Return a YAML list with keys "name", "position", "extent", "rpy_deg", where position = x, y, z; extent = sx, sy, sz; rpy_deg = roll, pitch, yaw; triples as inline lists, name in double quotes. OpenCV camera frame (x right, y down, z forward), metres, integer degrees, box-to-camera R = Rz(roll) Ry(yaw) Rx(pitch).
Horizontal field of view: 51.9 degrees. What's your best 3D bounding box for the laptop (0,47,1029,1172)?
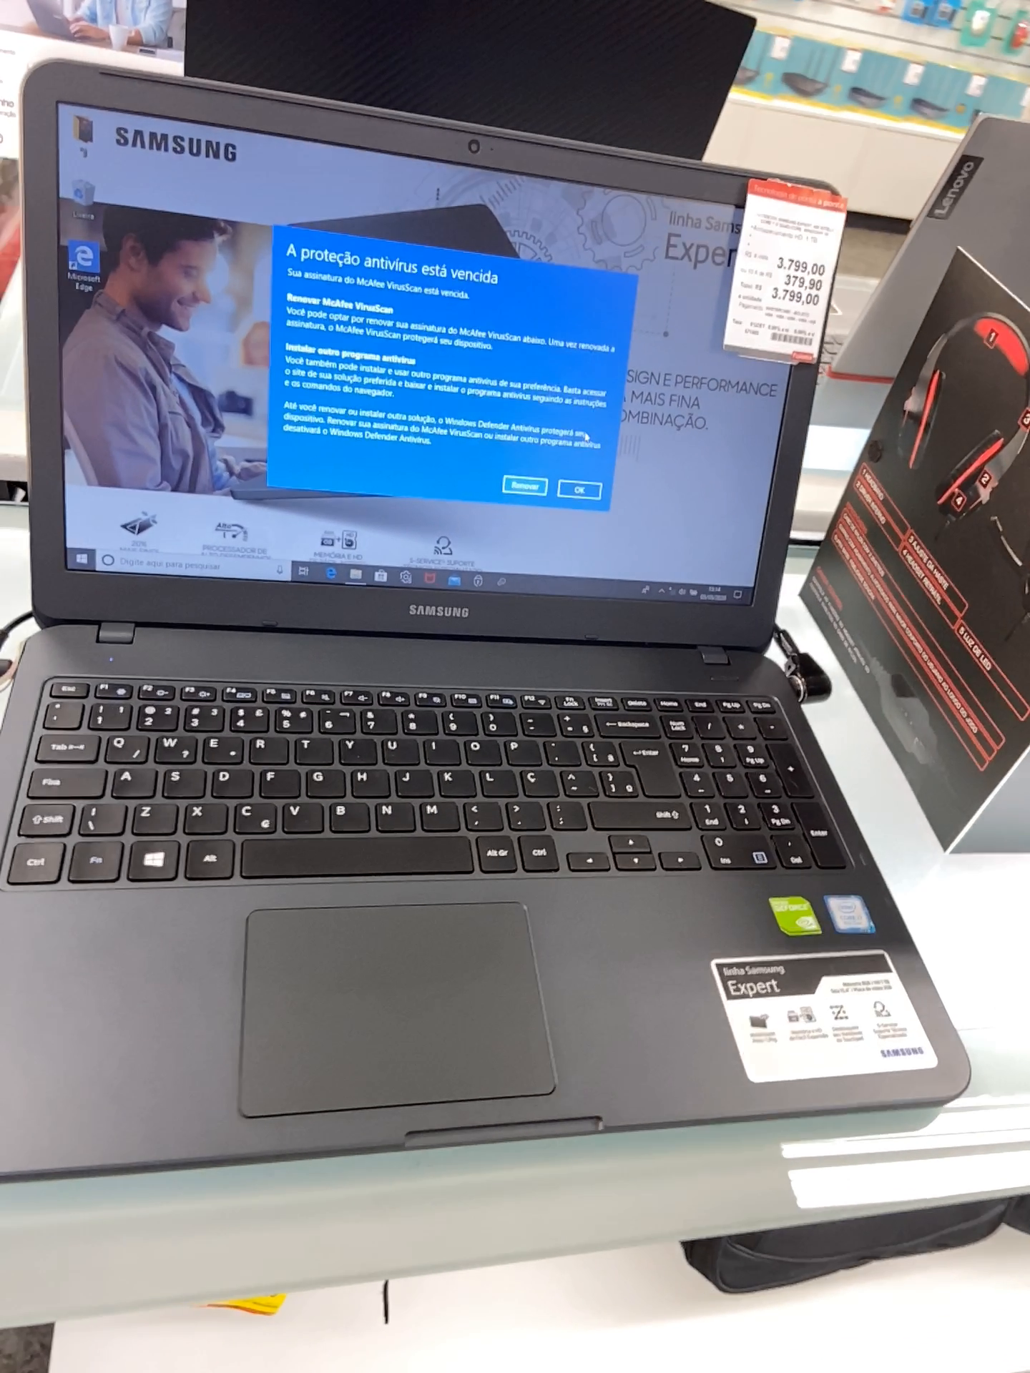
- name: "laptop"
  position: [-0.016, -0.055, 0.427]
  extent: [0.371, 0.207, 0.373]
  rpy_deg: [2, 44, -15]
